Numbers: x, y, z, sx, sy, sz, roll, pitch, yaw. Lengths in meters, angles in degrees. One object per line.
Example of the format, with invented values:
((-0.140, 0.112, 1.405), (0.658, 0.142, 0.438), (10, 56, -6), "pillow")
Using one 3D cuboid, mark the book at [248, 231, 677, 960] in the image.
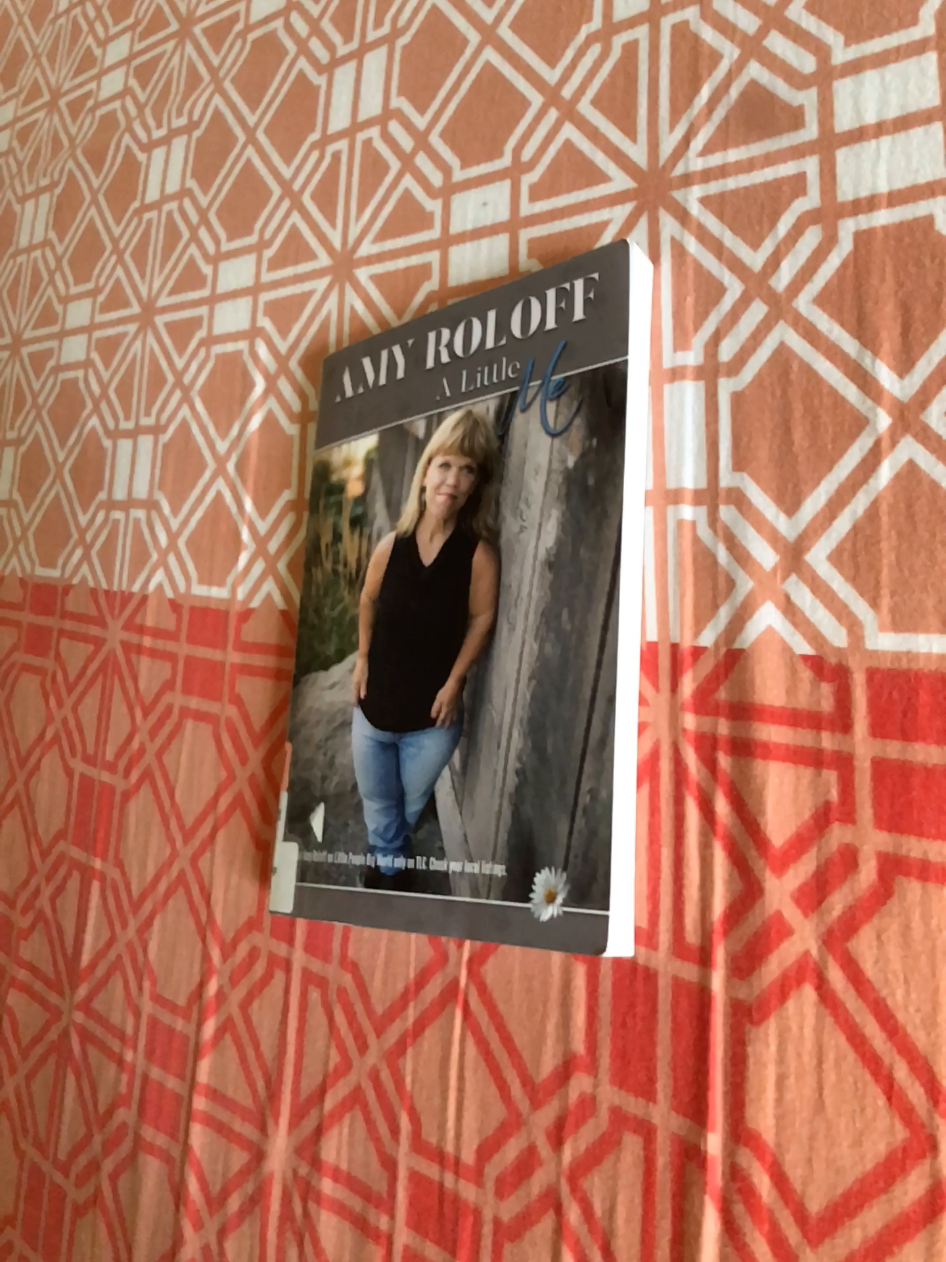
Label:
((-0.008, -0.008, 0.365), (0.159, 0.030, 0.215), (-6, 77, 40), "book")
